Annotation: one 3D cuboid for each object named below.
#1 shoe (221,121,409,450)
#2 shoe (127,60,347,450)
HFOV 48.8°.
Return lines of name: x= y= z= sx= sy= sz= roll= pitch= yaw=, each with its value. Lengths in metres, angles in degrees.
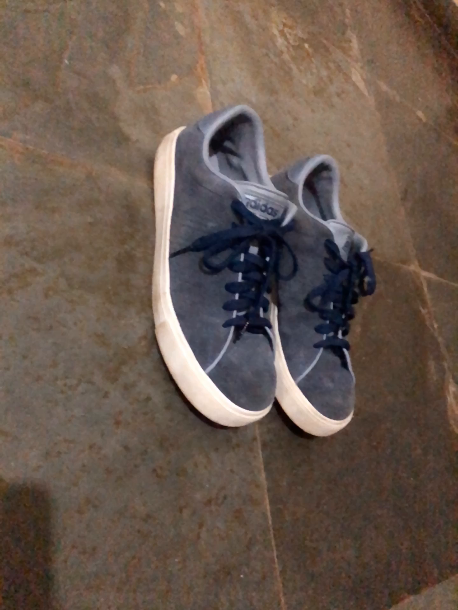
shoe: x=0.074 y=-0.016 z=0.474 sx=0.111 sy=0.079 sz=0.281 roll=12 pitch=63 yaw=-41
shoe: x=-0.001 y=-0.035 z=0.394 sx=0.111 sy=0.079 sz=0.271 roll=9 pitch=65 yaw=-42
